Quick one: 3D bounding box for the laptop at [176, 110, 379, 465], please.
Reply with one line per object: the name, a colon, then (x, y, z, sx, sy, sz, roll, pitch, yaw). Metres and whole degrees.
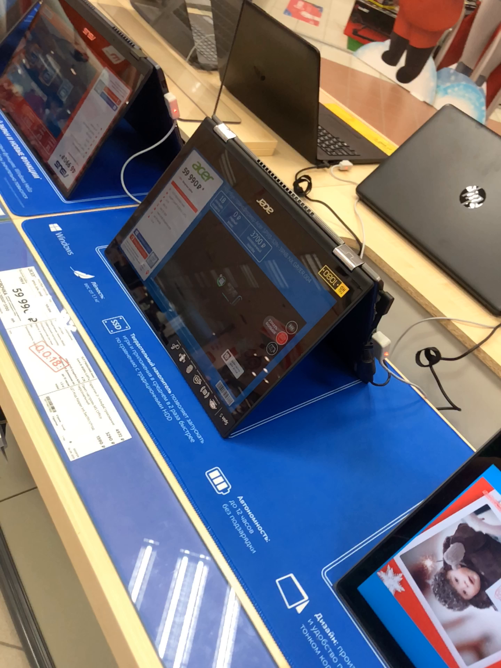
laptop: (0.019, -0.032, 0.755, 0.308, 0.159, 0.201, 50, 12, 25)

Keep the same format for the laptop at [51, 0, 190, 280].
laptop: (-0.228, -0.328, 0.945, 0.269, 0.179, 0.175, 51, 18, 28)
